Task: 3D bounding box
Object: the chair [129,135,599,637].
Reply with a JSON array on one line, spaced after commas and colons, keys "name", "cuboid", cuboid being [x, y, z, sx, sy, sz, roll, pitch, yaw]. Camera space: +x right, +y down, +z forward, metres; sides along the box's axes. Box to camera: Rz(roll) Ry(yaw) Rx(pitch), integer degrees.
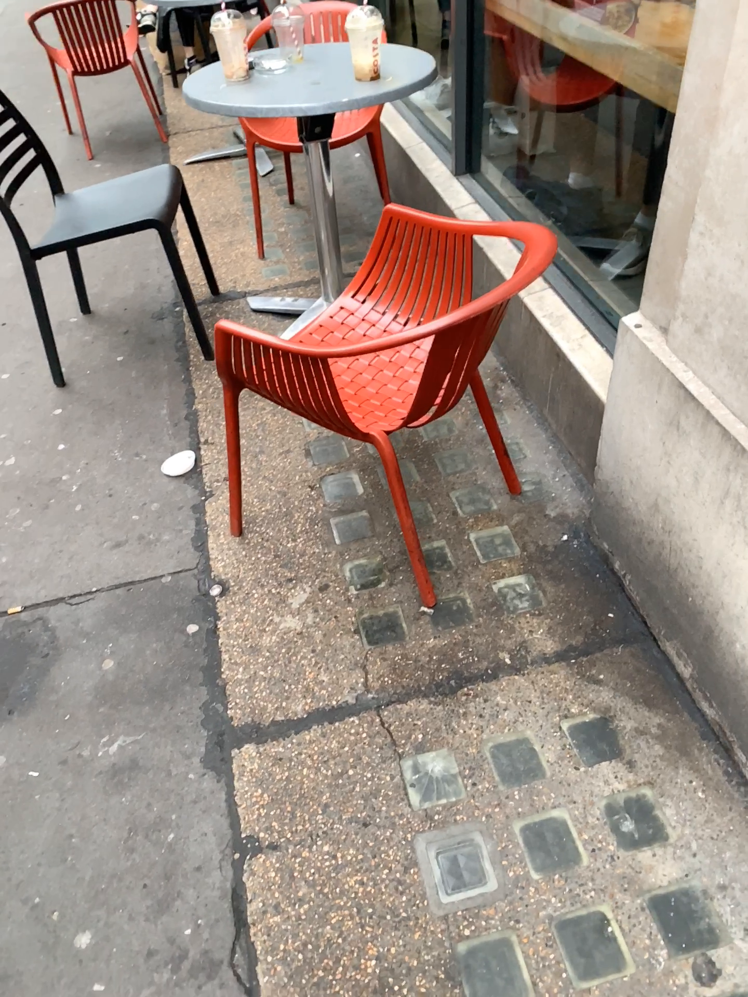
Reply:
[{"name": "chair", "cuboid": [0.016, -0.258, 1.577, 0.613, 0.693, 0.583, 22, 49, 27]}]
